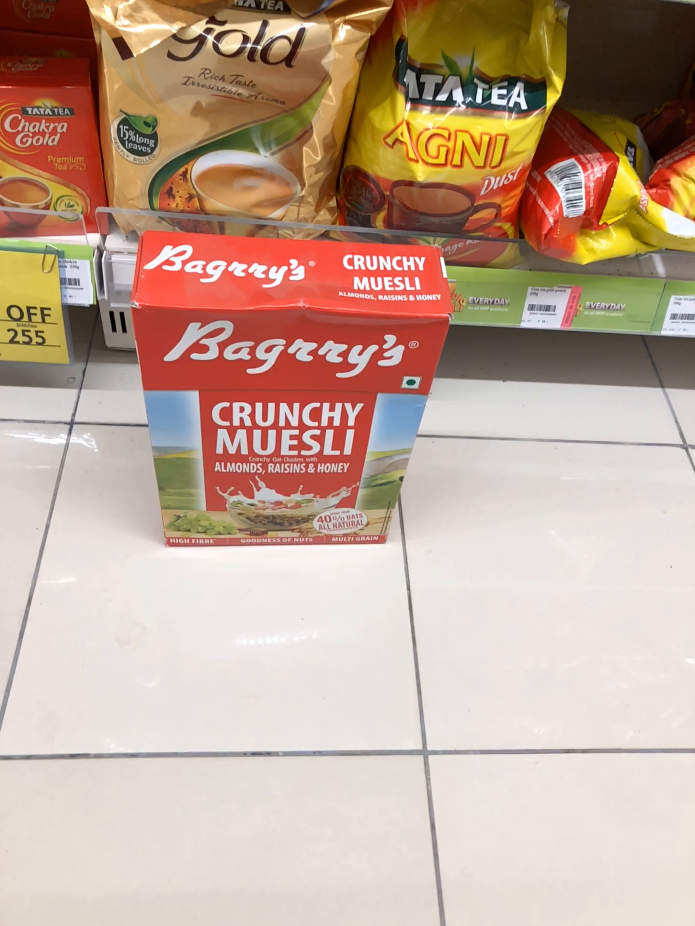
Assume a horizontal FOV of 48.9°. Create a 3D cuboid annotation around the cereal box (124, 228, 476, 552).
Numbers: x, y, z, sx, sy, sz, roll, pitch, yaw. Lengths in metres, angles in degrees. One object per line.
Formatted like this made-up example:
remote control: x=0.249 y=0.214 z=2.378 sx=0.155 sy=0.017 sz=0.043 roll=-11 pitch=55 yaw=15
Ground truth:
cereal box: x=-0.041 y=-0.034 z=0.562 sx=0.200 sy=0.269 sz=0.070 roll=0 pitch=53 yaw=-8
